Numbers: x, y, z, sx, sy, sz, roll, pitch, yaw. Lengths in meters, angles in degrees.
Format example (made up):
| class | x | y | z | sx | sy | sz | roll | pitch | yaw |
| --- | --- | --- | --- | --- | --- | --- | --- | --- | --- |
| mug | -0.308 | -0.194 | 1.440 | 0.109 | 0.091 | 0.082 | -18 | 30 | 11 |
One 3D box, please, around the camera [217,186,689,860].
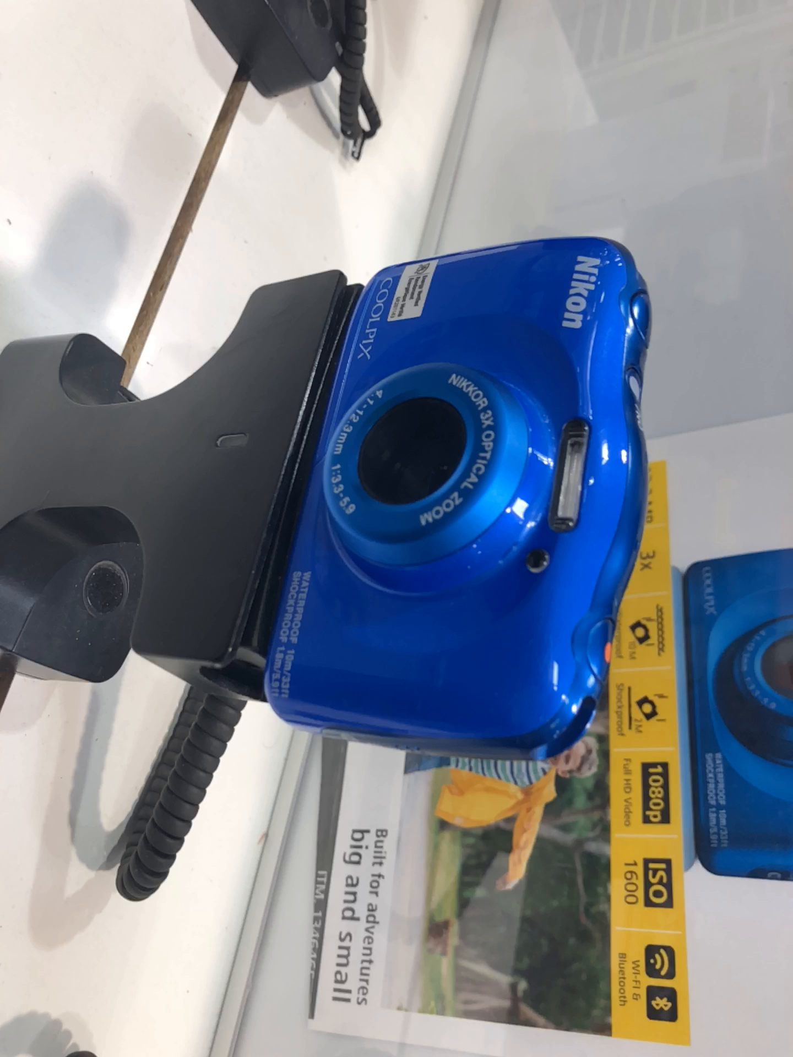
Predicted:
| class | x | y | z | sx | sy | sz | roll | pitch | yaw |
| --- | --- | --- | --- | --- | --- | --- | --- | --- | --- |
| camera | 0.020 | -0.002 | 0.199 | 0.050 | 0.070 | 0.130 | 43 | 52 | -50 |
